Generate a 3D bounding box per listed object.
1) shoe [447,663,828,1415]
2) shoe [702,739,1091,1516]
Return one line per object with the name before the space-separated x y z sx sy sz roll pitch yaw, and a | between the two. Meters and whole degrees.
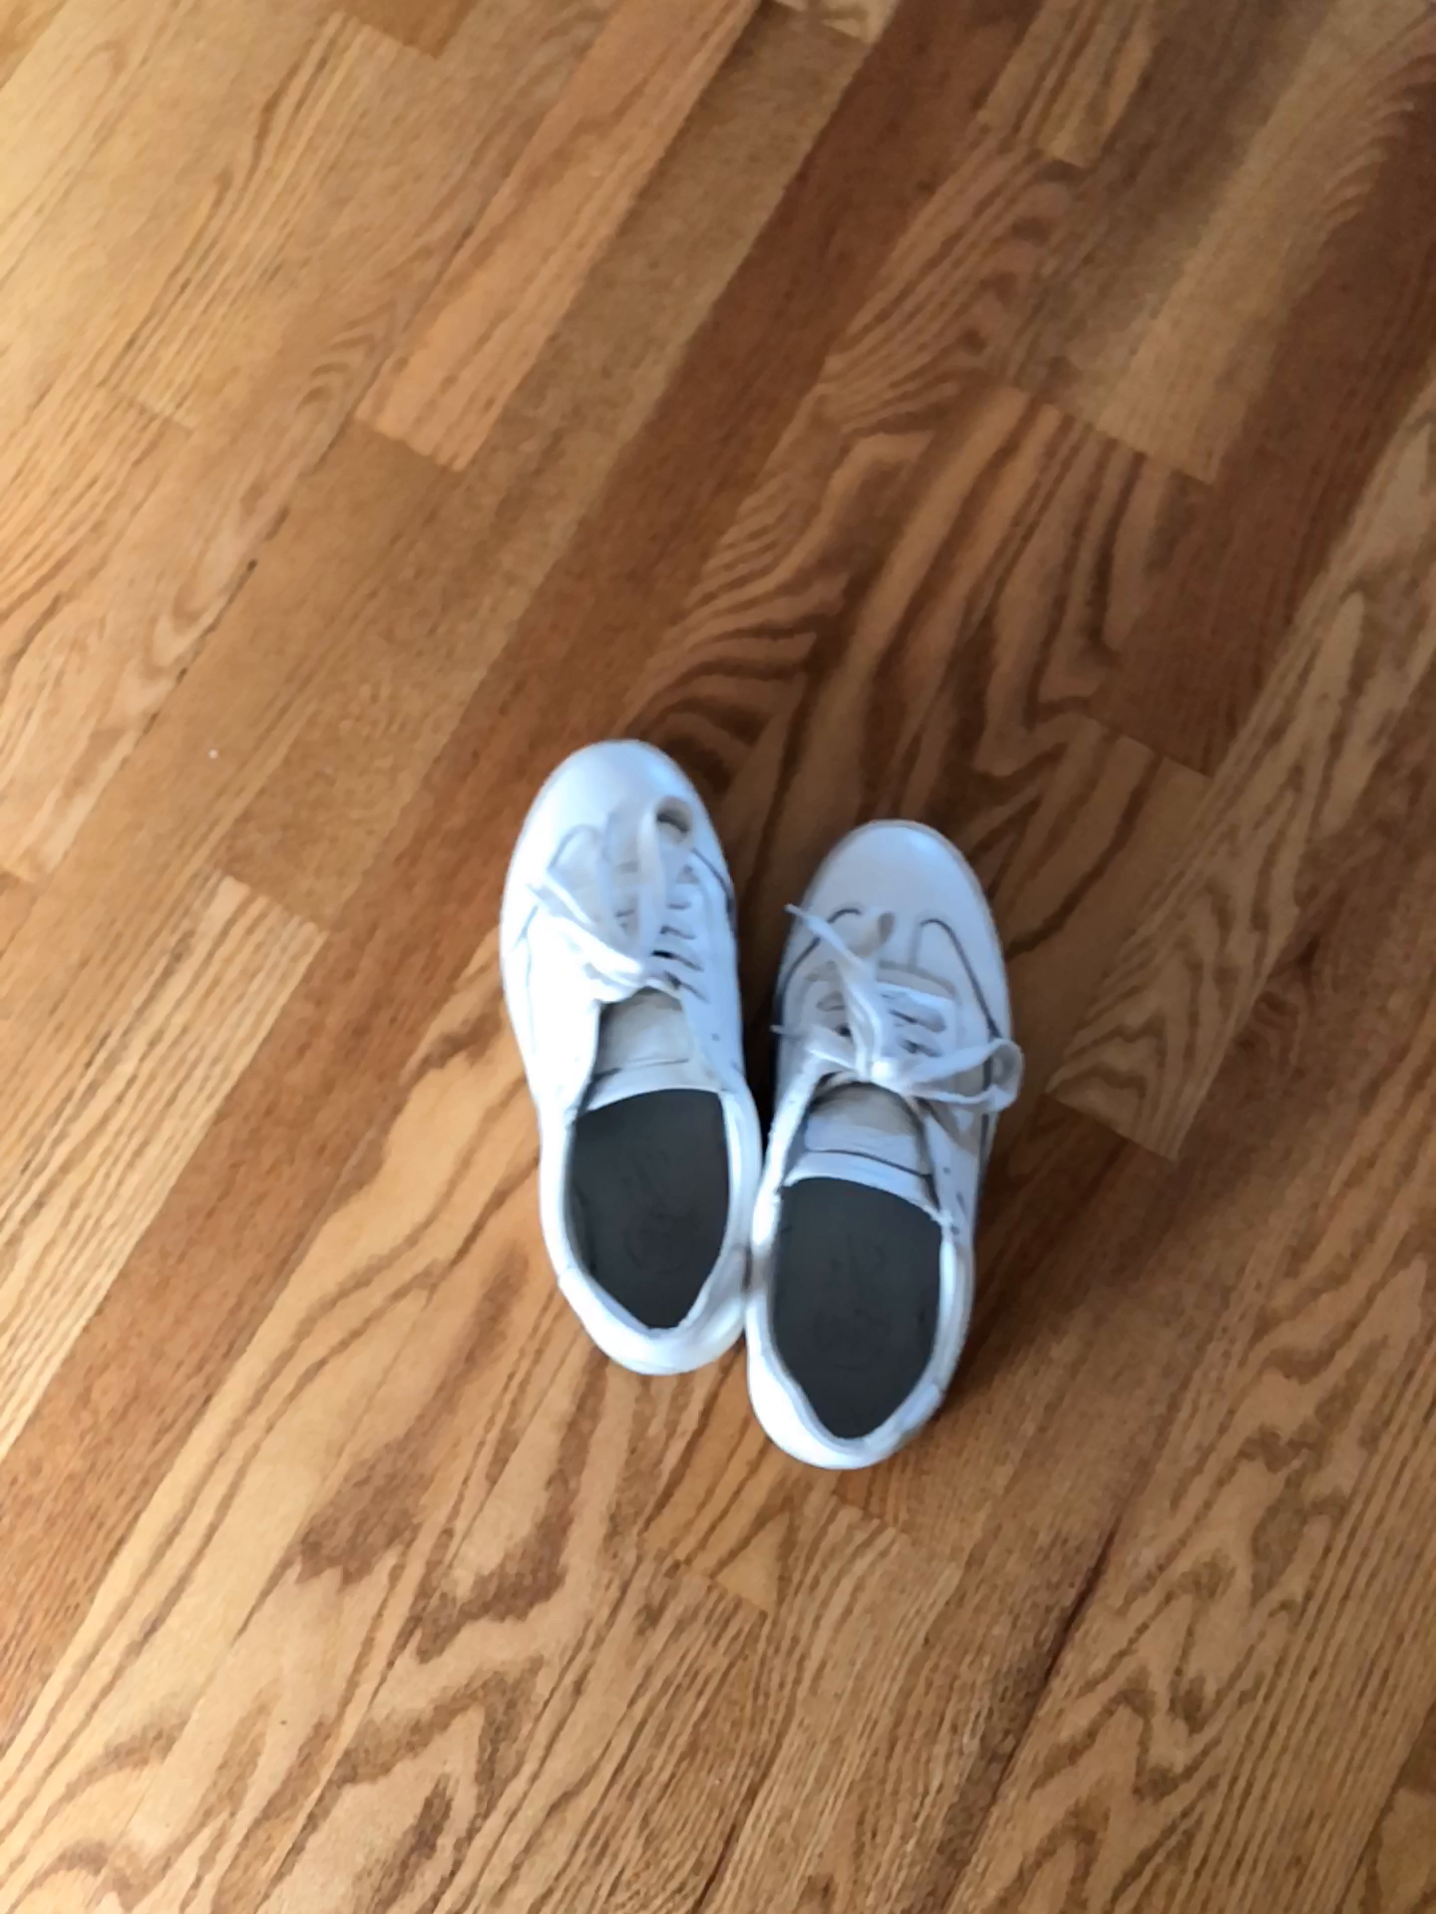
shoe | -0.030 0.033 0.622 0.102 0.104 0.260 -9 79 0
shoe | 0.067 0.063 0.611 0.102 0.107 0.260 8 80 3
